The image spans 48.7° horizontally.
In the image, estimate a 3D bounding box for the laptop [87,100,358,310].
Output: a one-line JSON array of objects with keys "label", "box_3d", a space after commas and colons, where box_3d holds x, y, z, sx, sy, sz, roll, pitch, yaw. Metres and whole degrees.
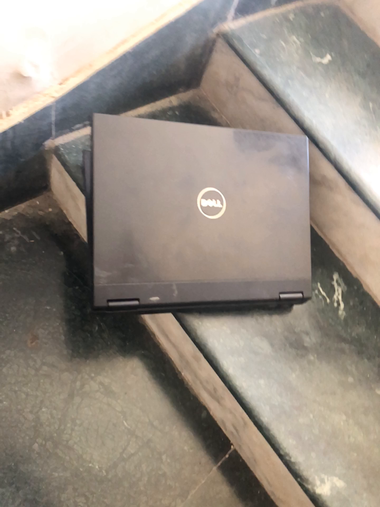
[{"label": "laptop", "box_3d": [0.033, -0.057, 0.552, 0.302, 0.095, 0.233, 0, 65, -22]}]
